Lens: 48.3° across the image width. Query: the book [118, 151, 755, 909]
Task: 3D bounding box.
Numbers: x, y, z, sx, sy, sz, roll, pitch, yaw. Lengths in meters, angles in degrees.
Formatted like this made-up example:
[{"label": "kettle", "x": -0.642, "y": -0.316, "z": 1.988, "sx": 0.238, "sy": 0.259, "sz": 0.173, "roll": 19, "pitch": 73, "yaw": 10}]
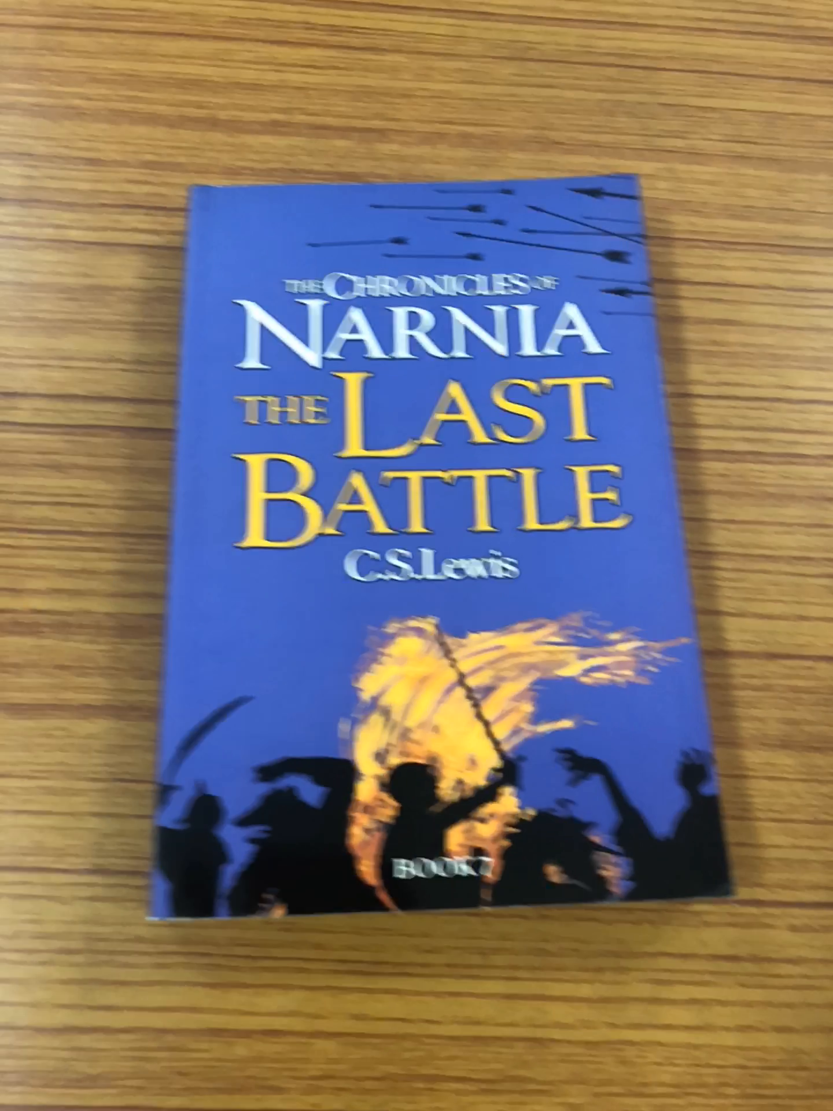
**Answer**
[{"label": "book", "x": 0.002, "y": -0.015, "z": 0.249, "sx": 0.140, "sy": 0.030, "sz": 0.200, "roll": -1, "pitch": 72, "yaw": -3}]
